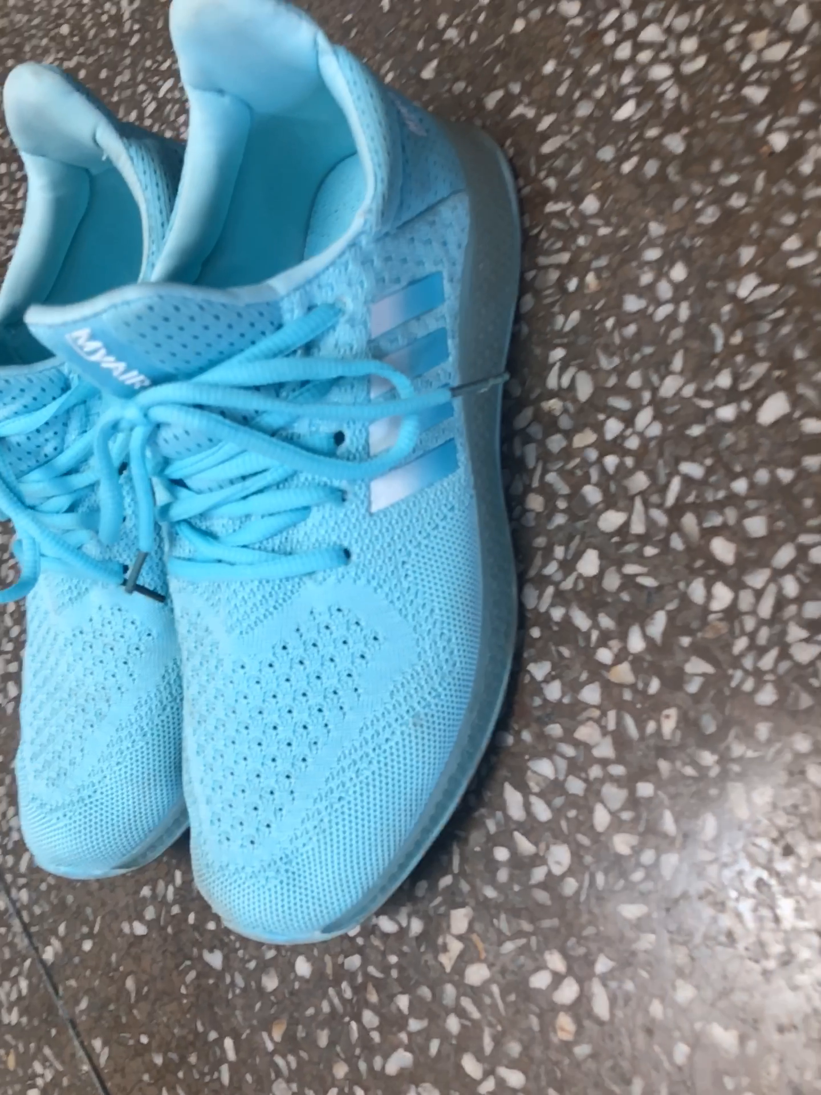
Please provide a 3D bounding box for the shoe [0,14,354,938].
[{"bbox_3d":[-0.128,-0.020,0.344,0.121,0.125,0.271,3,81,36],"label":"shoe"}]

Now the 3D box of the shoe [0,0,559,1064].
[{"bbox_3d":[-0.049,-0.018,0.287,0.121,0.125,0.271,1,80,35],"label":"shoe"}]
